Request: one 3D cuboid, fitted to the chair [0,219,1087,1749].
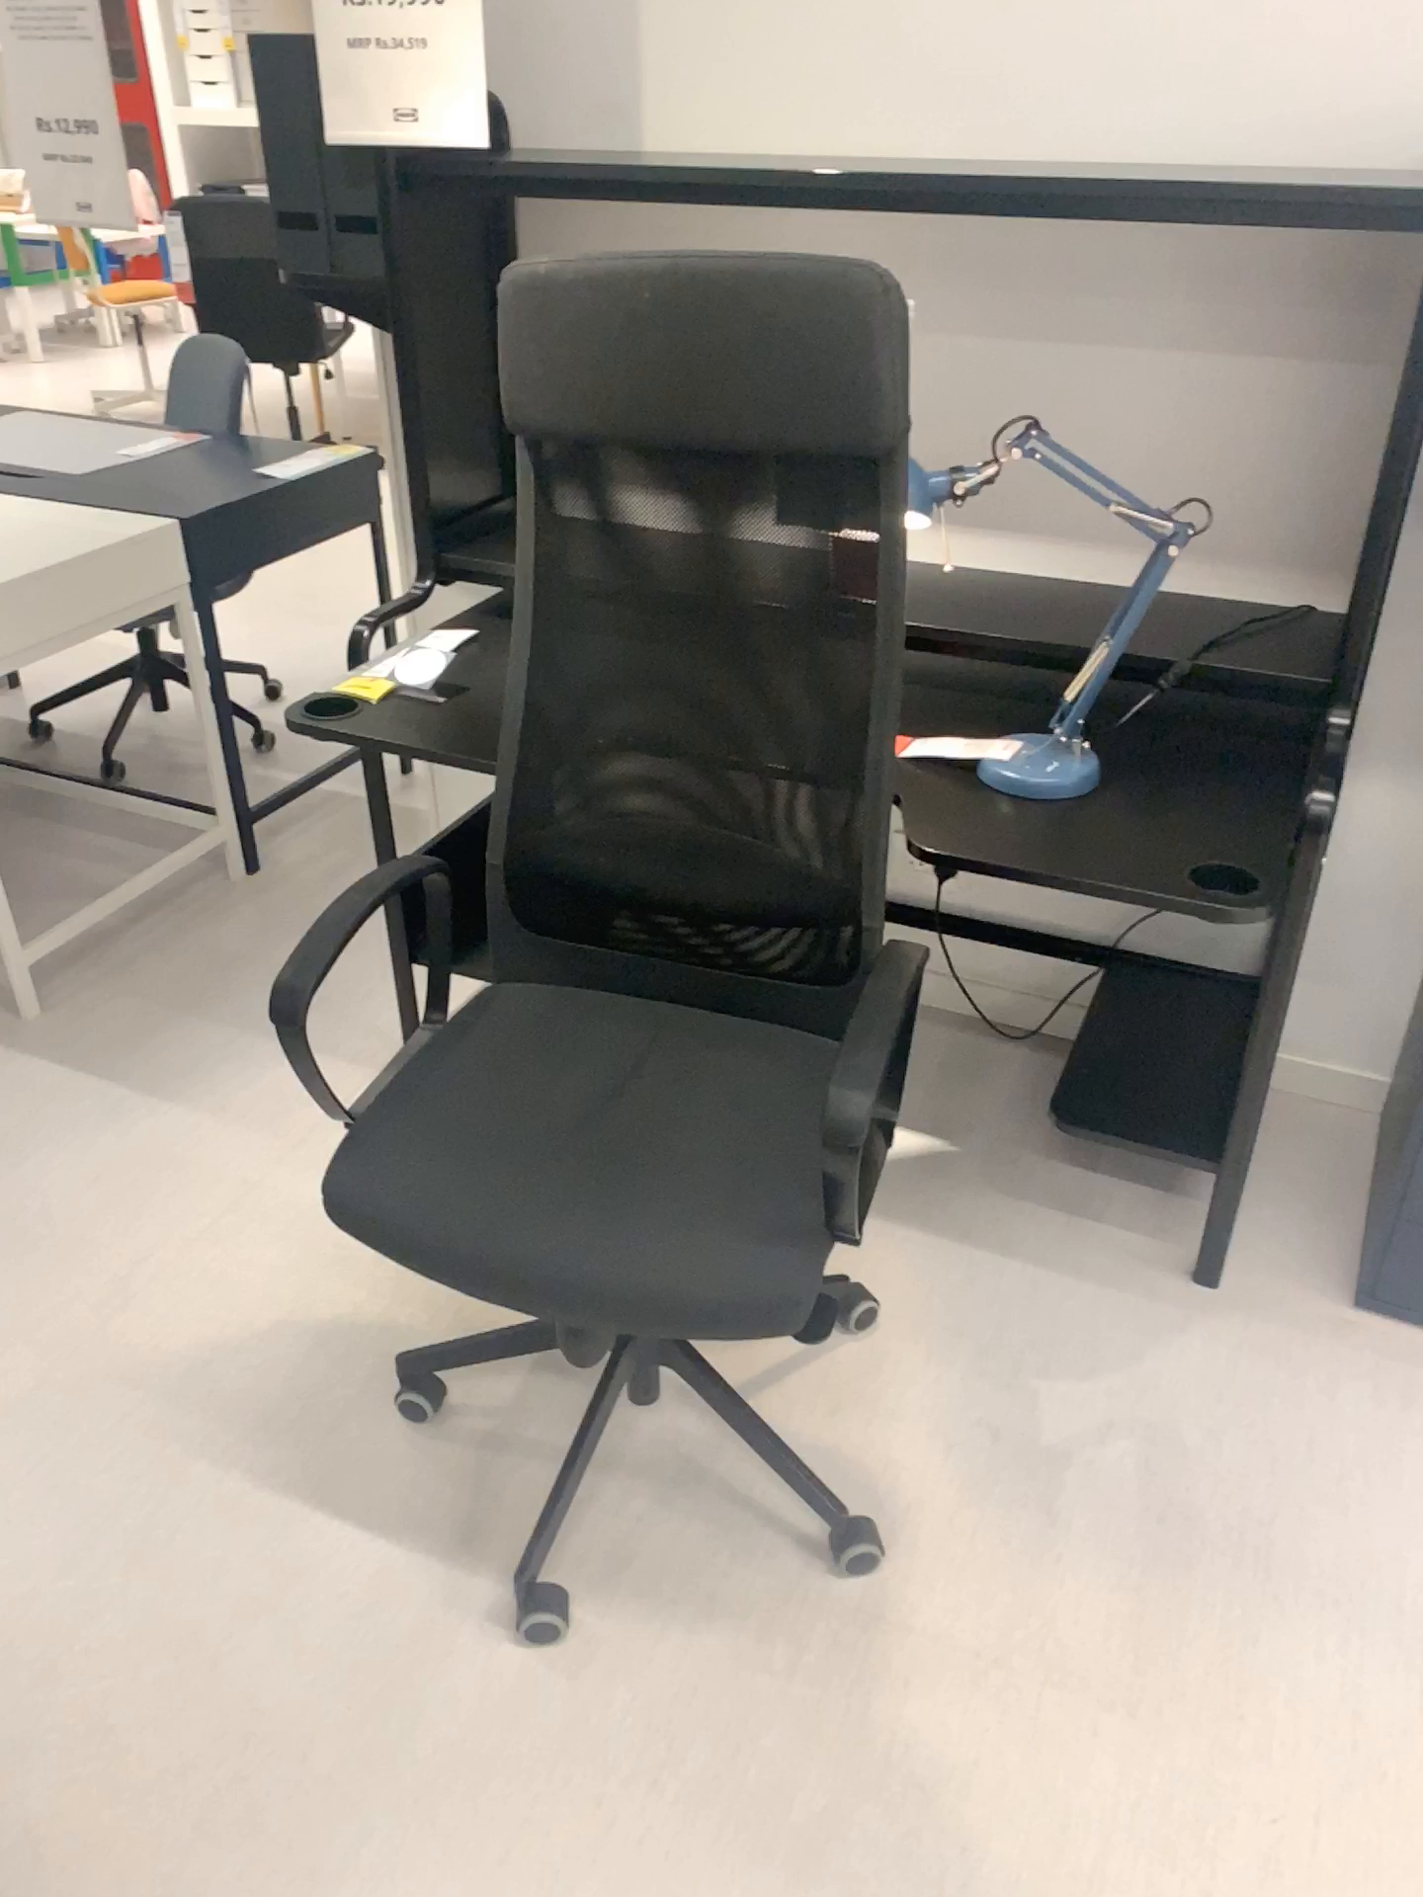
[{"bbox_3d":[-0.078,0.003,1.441,0.641,1.244,0.713,10,33,17],"label":"chair"}]
